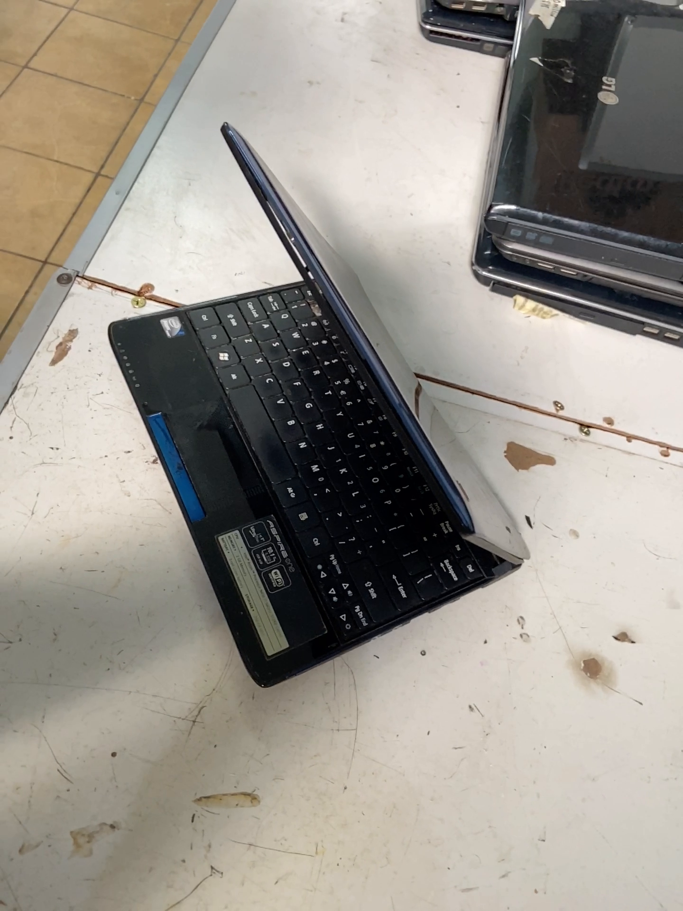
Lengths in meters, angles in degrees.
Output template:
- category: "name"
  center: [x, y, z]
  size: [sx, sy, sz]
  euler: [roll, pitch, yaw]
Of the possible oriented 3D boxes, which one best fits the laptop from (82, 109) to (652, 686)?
- category: "laptop"
  center: [-0.007, -0.041, 0.377]
  size: [0.171, 0.131, 0.244]
  euler: [-19, 65, -22]
